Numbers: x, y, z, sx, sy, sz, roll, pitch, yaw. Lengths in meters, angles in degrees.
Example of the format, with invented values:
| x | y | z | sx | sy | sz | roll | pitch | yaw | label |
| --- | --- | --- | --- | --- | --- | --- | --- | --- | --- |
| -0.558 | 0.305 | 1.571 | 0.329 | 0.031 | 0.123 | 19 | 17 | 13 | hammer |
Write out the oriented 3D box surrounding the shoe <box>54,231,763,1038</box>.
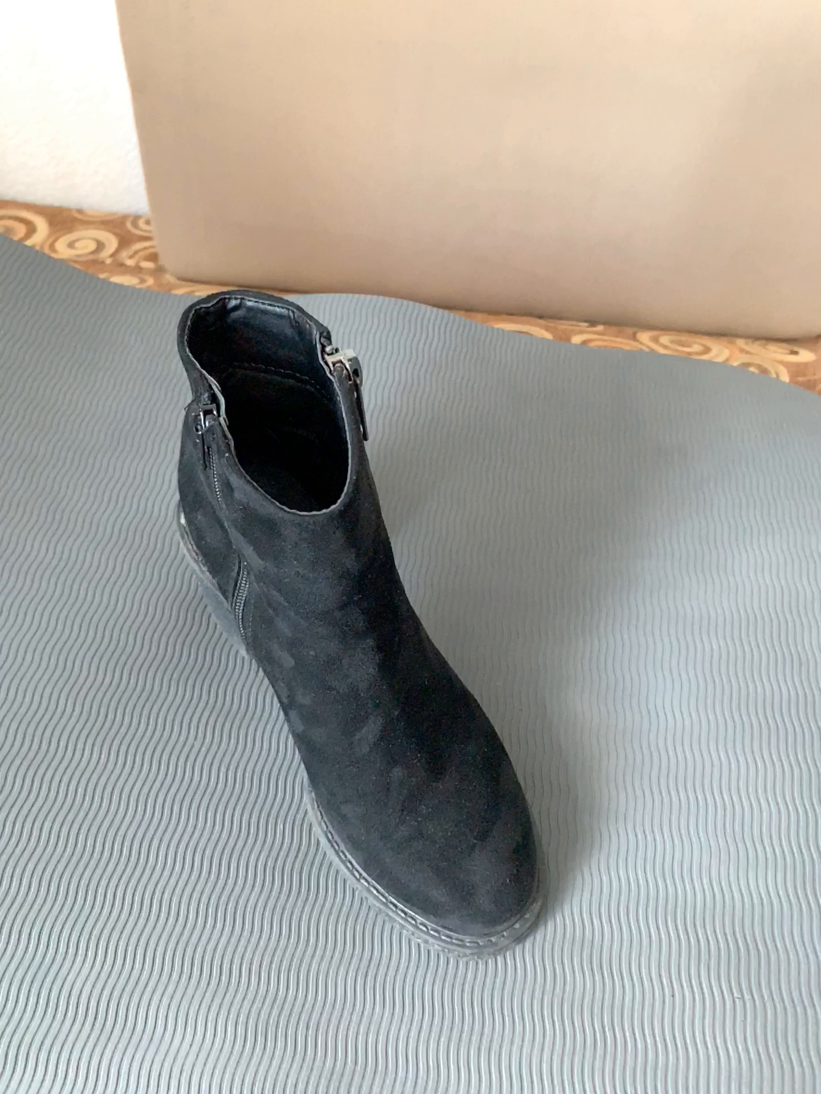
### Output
| x | y | z | sx | sy | sz | roll | pitch | yaw | label |
| --- | --- | --- | --- | --- | --- | --- | --- | --- | --- |
| -0.022 | 0.028 | 0.329 | 0.098 | 0.179 | 0.241 | -27 | 56 | -24 | shoe |
